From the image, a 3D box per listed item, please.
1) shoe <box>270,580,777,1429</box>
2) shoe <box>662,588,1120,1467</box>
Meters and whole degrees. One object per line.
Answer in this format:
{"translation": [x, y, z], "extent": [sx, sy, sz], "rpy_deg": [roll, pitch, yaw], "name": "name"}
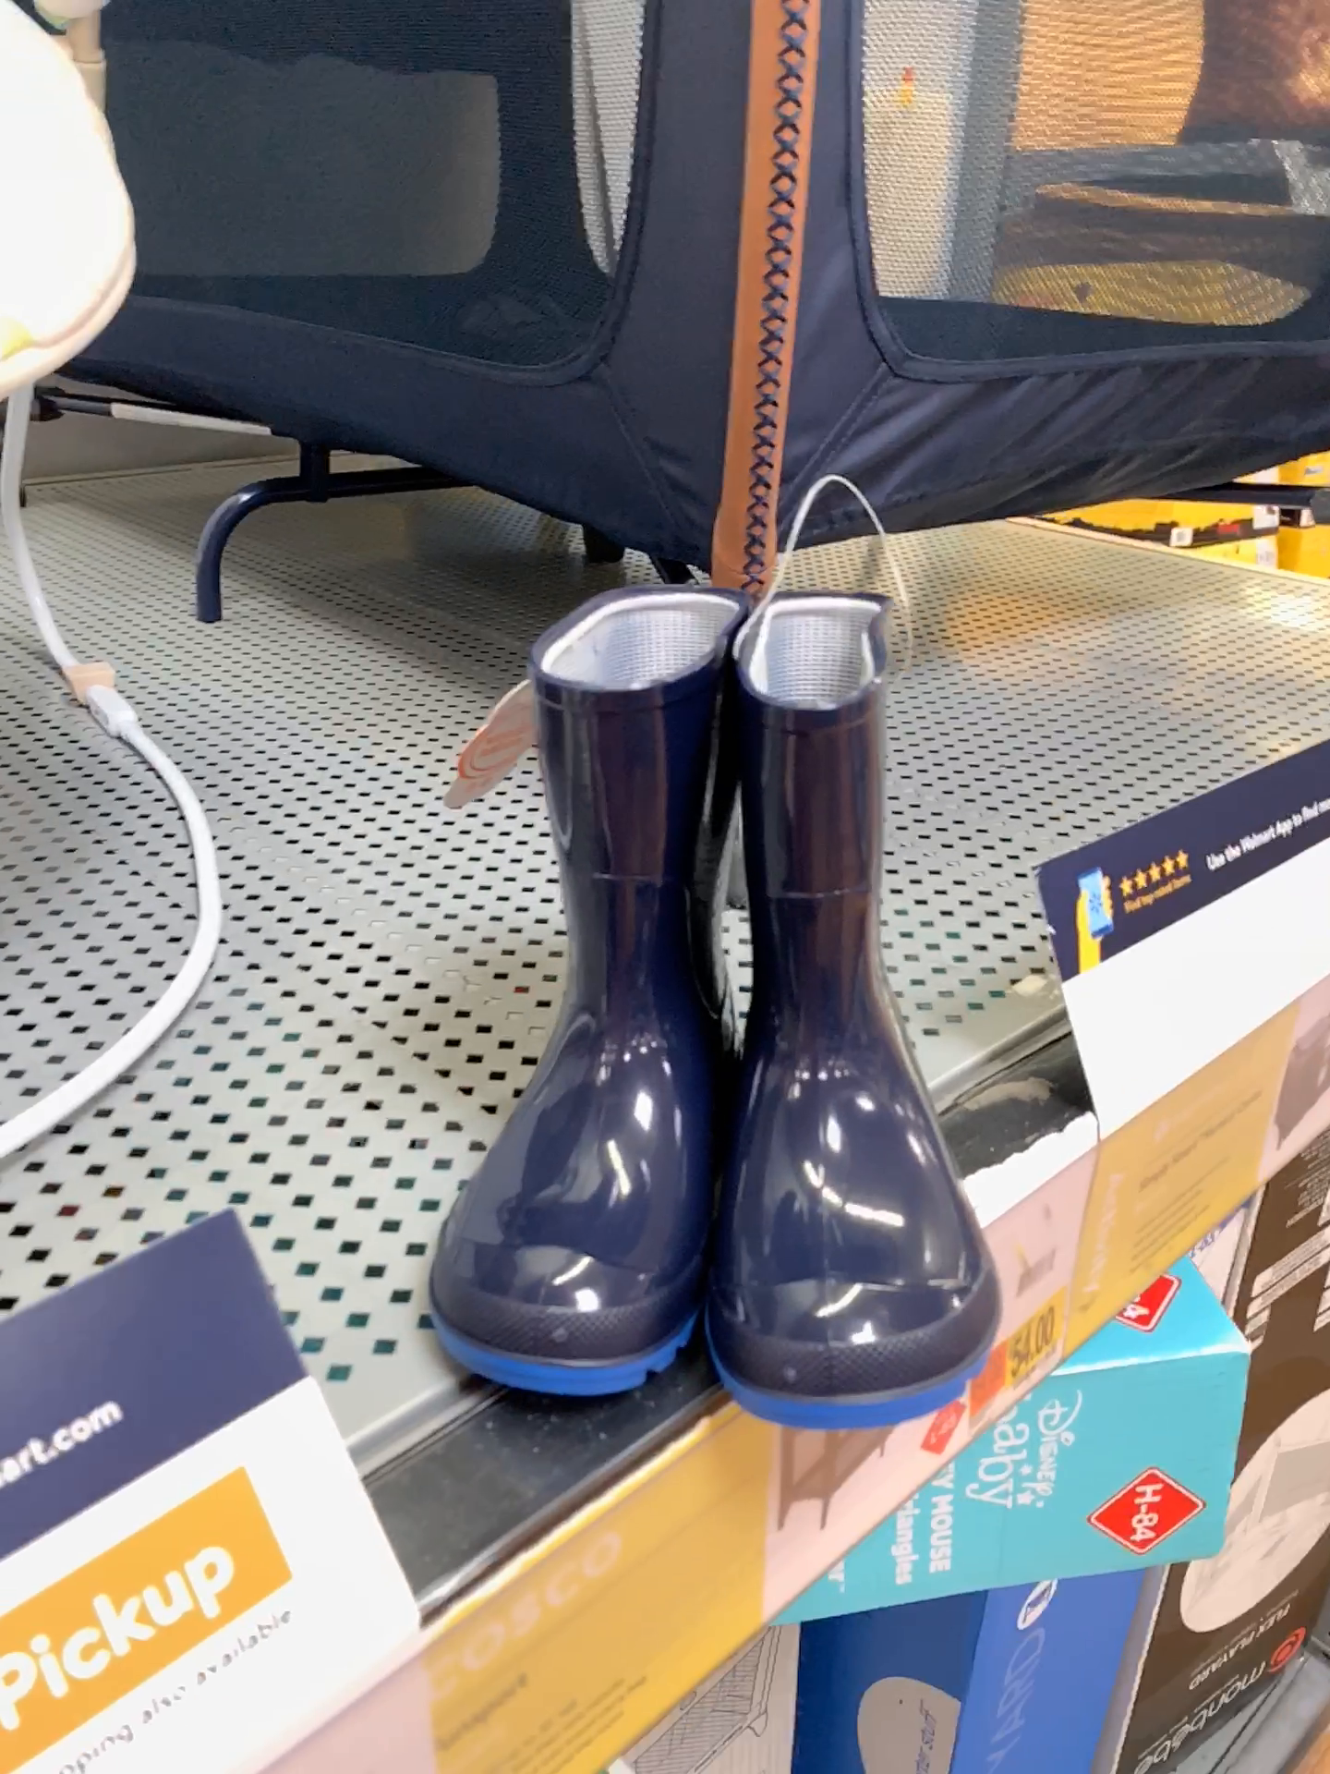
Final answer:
{"translation": [-0.018, 0.013, 0.347], "extent": [0.074, 0.143, 0.174], "rpy_deg": [3, 26, 10], "name": "shoe"}
{"translation": [0.048, 0.018, 0.336], "extent": [0.076, 0.143, 0.174], "rpy_deg": [1, 26, 6], "name": "shoe"}
